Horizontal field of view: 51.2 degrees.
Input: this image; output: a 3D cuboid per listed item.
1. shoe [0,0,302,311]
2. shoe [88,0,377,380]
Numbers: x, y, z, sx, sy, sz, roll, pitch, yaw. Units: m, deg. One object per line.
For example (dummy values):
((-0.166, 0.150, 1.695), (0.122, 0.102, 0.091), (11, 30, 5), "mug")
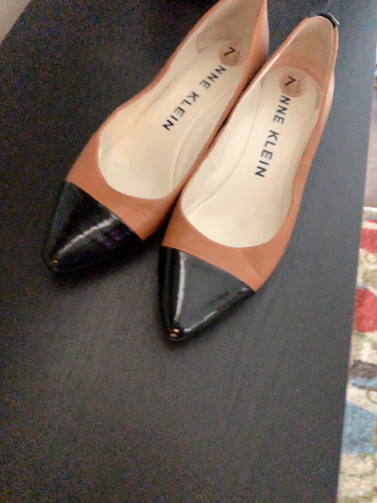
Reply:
((-0.024, -0.087, 0.305), (0.080, 0.080, 0.261), (34, 80, 8), "shoe")
((0.038, -0.050, 0.300), (0.090, 0.080, 0.260), (27, 82, 7), "shoe")
